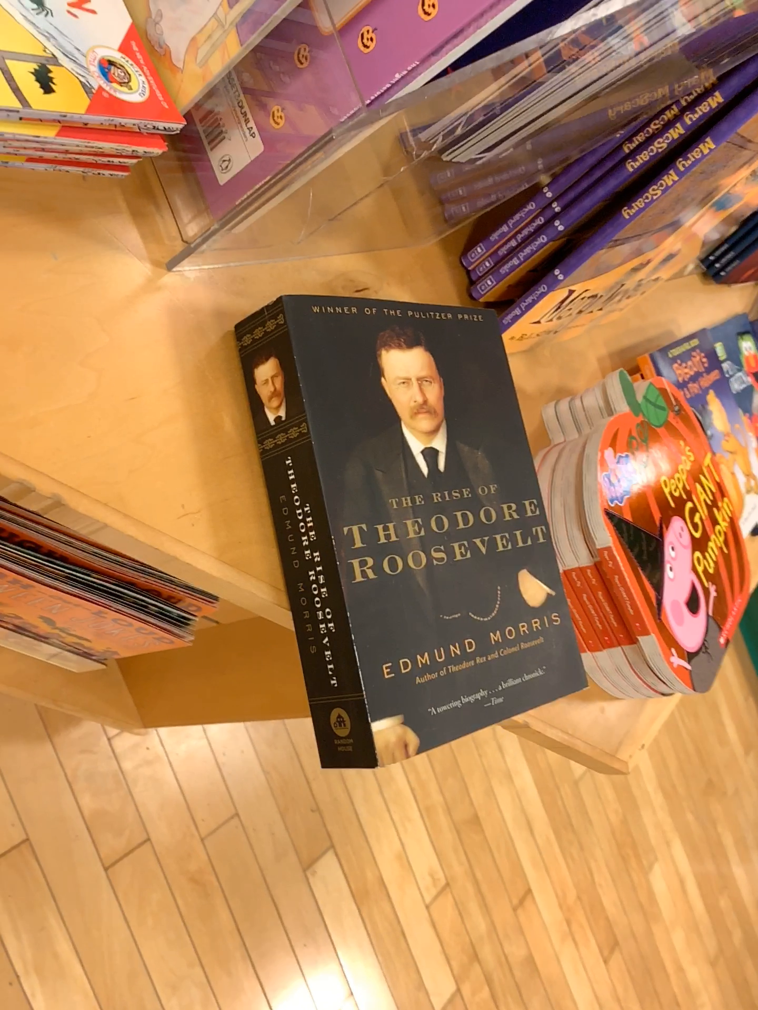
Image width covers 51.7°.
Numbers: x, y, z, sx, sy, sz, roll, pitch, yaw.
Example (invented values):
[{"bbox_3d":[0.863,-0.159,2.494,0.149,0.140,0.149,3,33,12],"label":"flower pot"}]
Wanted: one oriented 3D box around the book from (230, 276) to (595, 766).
[{"bbox_3d":[0.019,0.006,0.372,0.131,0.066,0.195,-5,81,-46],"label":"book"}]
